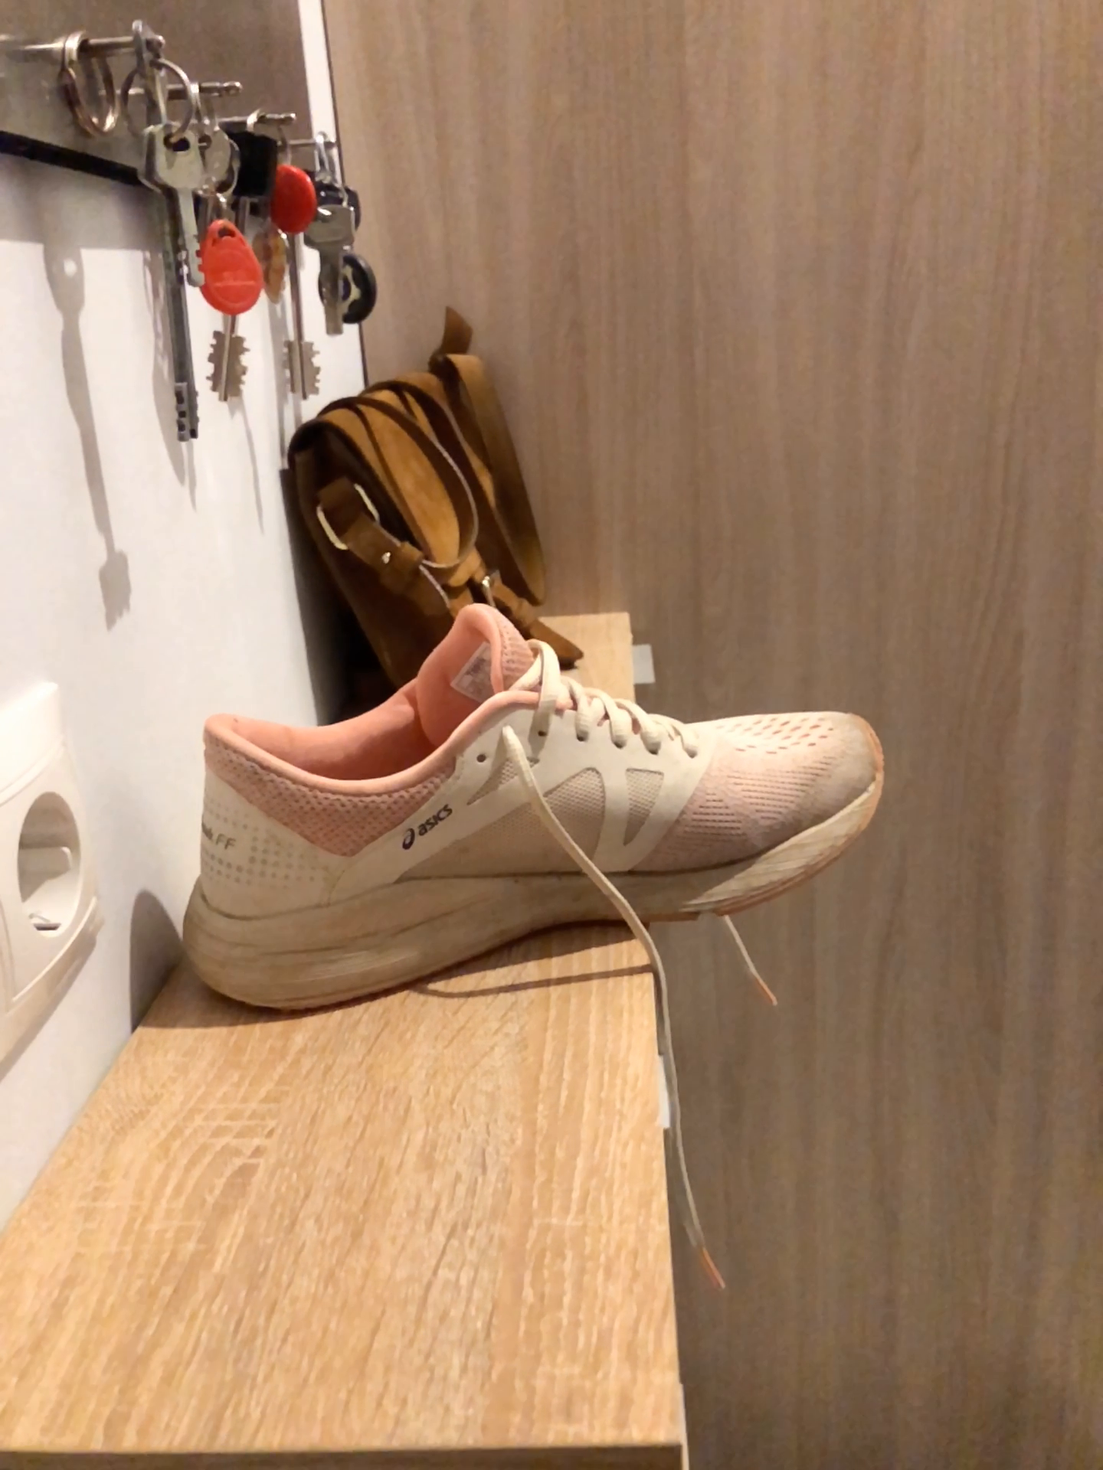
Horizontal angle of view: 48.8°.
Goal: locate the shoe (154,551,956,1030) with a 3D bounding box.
[{"bbox_3d":[0.000,0.008,0.456,0.268,0.104,0.111,-9,20,-14],"label":"shoe"}]
